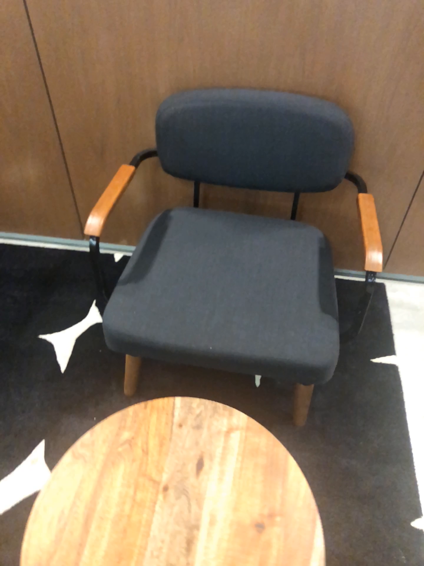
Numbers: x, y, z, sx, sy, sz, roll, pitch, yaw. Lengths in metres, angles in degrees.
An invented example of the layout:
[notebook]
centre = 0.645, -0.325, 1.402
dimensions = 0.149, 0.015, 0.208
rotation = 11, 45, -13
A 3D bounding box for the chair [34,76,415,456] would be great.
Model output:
[chair]
centre = 0.057, -0.057, 1.316
dimensions = 0.680, 0.714, 0.686
rotation = 8, 45, 6
